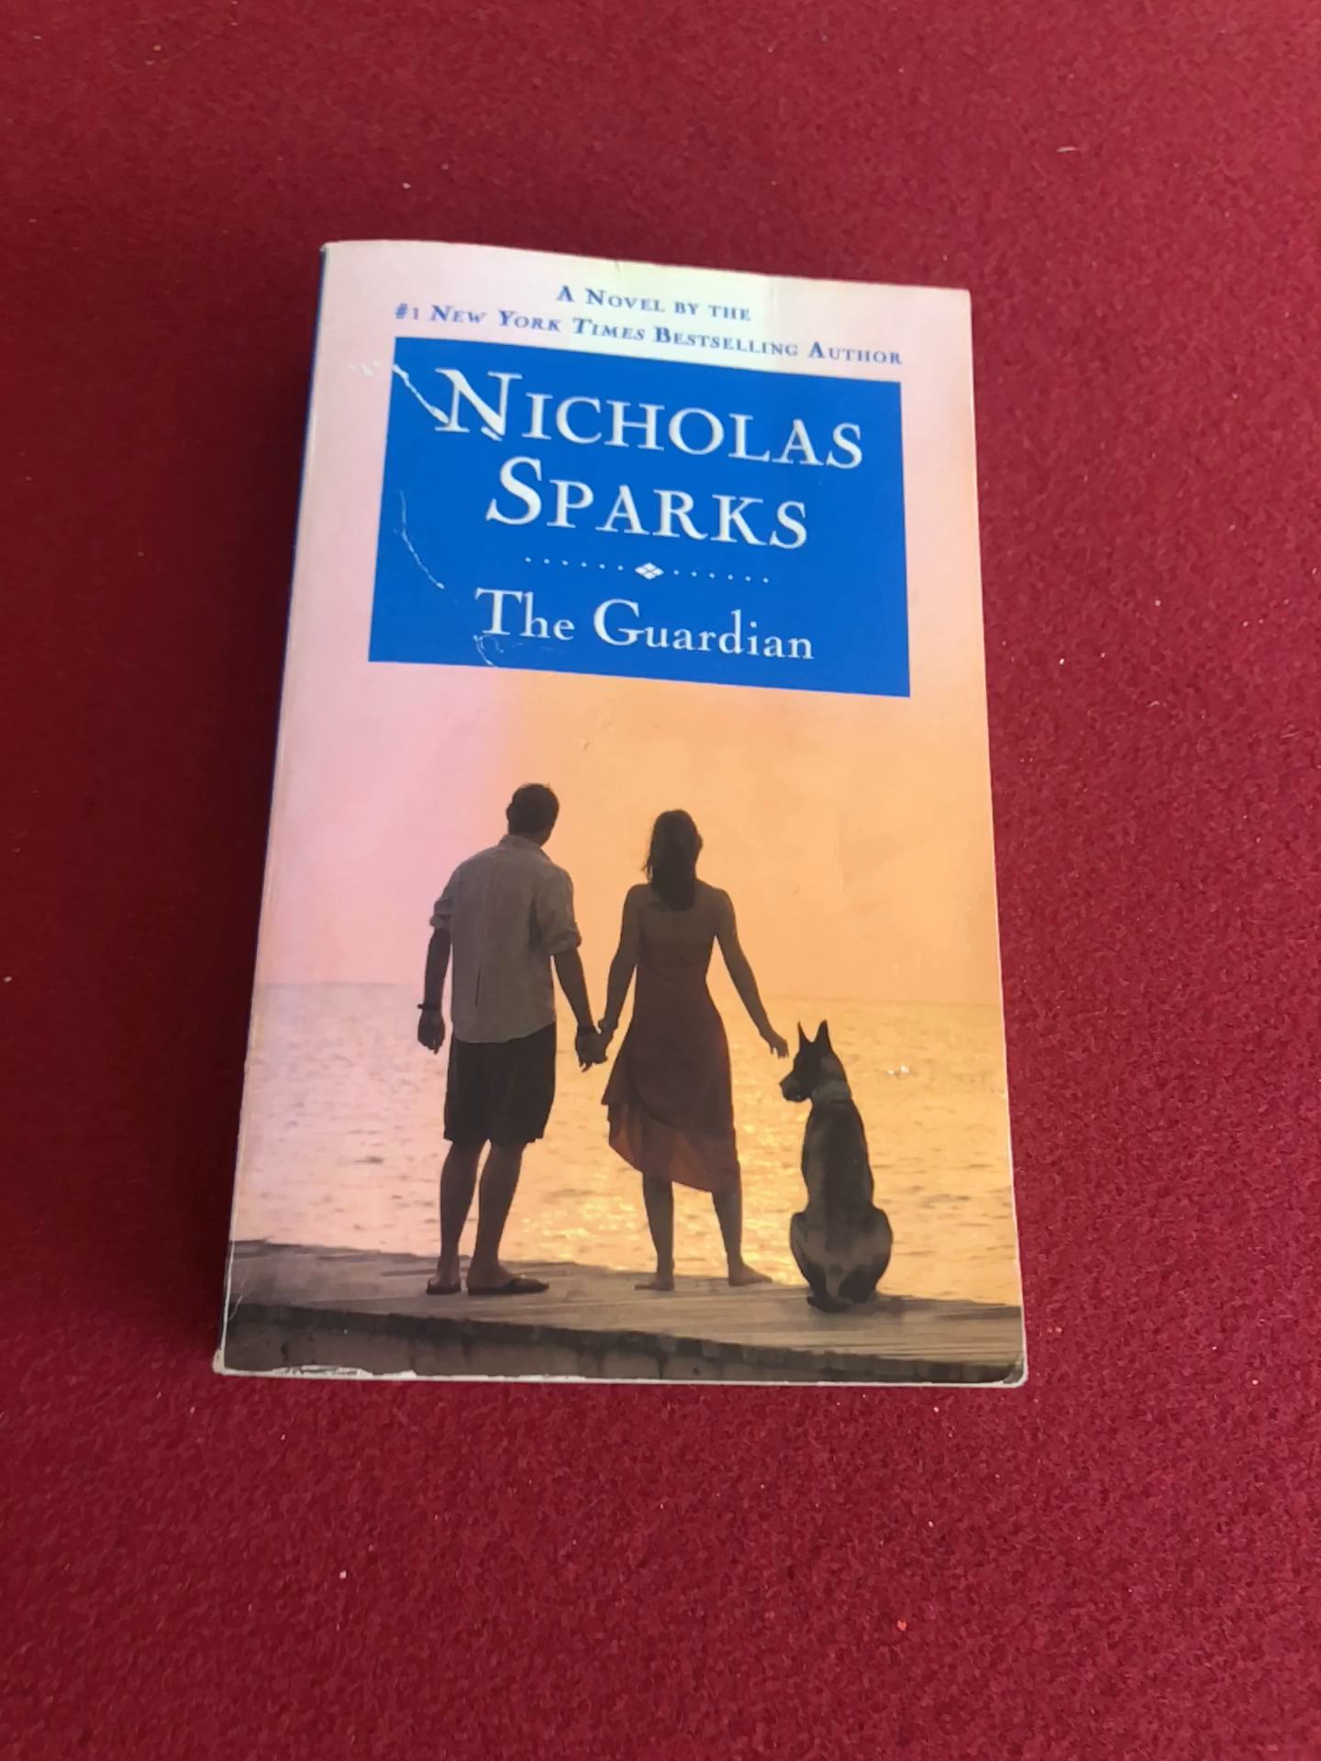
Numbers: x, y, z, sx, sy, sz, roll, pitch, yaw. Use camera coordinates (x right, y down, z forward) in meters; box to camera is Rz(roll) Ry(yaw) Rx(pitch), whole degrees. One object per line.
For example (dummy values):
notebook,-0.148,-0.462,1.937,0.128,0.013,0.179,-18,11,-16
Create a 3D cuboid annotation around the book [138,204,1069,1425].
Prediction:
book,-0.004,-0.013,0.215,0.110,0.030,0.170,4,71,-6
